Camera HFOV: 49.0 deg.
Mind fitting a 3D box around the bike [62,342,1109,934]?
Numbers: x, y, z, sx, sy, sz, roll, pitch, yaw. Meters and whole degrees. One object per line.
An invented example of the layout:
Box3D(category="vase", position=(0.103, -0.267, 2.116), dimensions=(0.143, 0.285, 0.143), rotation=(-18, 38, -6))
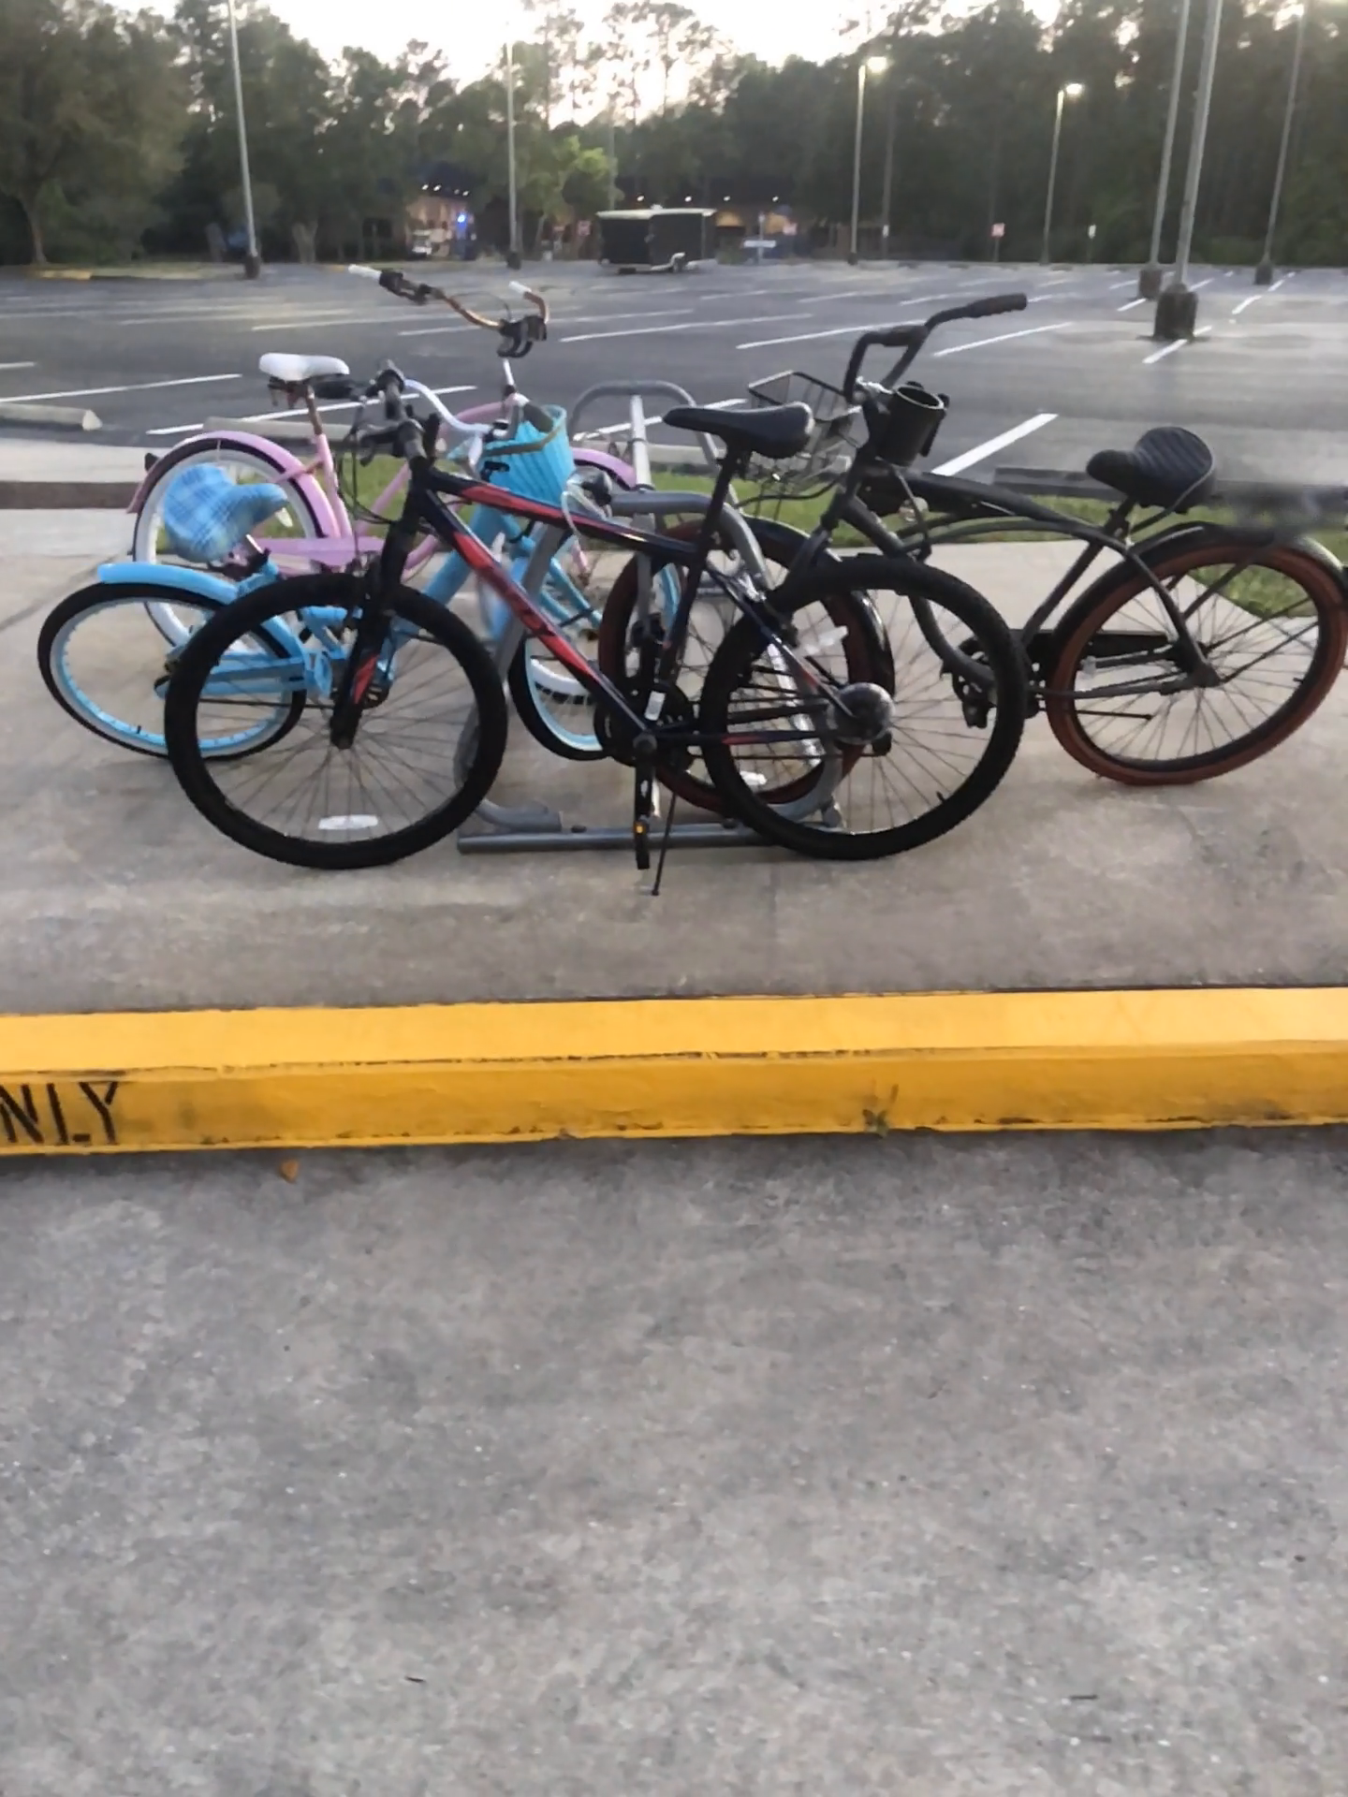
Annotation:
Box3D(category="bike", position=(-0.130, -0.509, 2.767), dimensions=(1.629, 0.932, 0.627), rotation=(-1, 23, -6))
